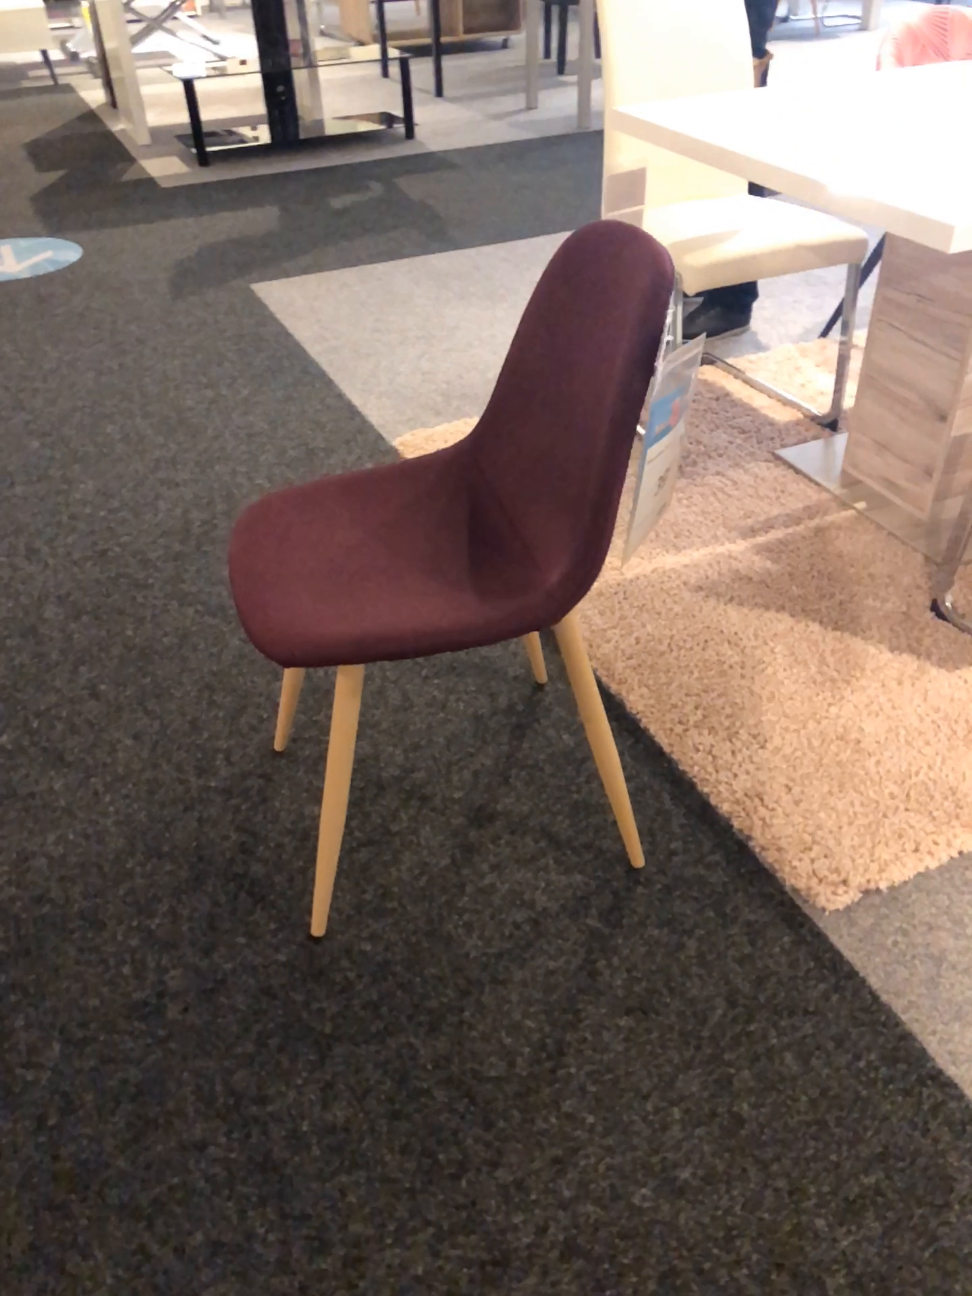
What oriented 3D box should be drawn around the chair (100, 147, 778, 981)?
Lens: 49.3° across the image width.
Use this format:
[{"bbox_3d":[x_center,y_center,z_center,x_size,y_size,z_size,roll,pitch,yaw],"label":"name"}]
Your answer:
[{"bbox_3d":[-0.074,-0.111,1.297,0.571,0.795,0.472,-12,37,-15],"label":"chair"}]
